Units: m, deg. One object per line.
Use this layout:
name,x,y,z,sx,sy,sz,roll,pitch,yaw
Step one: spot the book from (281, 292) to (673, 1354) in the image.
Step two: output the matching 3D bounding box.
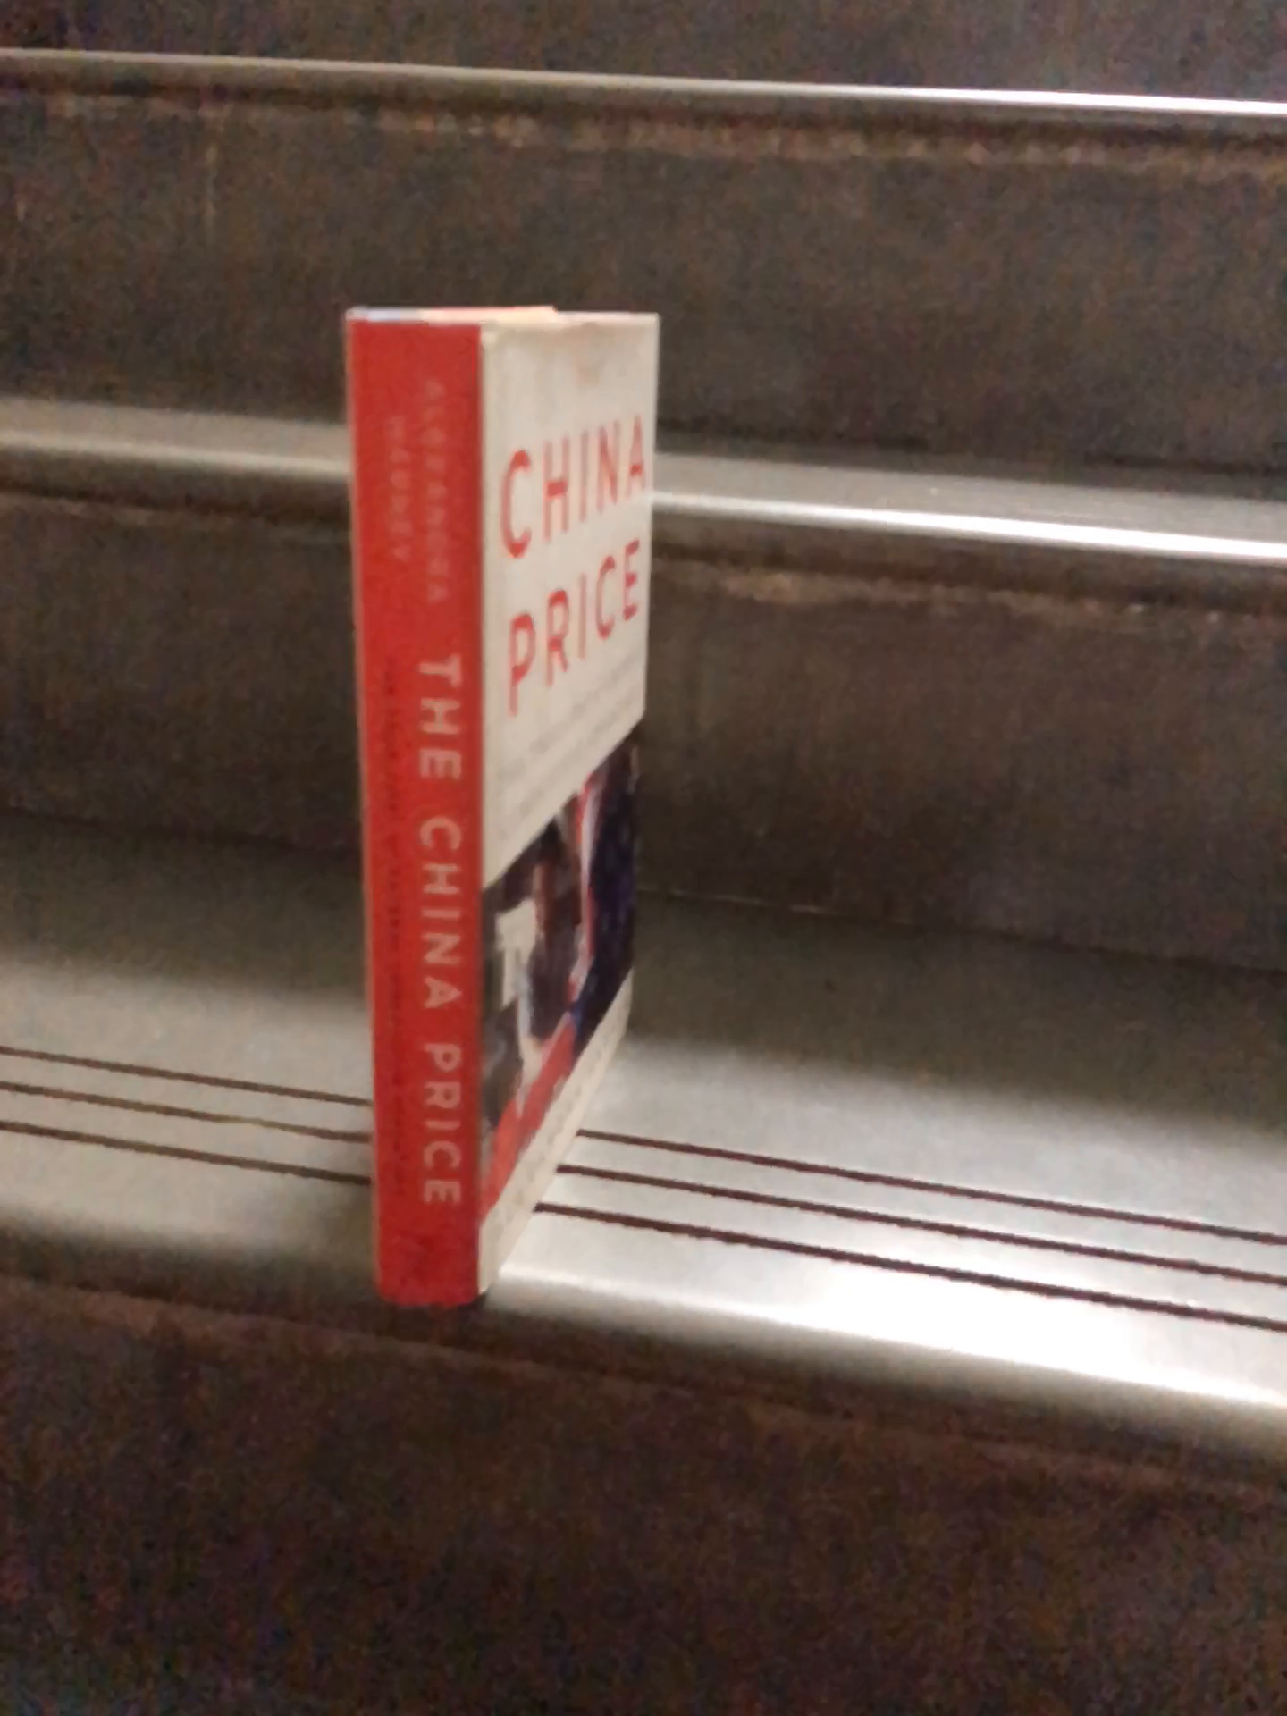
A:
book,-0.033,-0.025,0.387,0.040,0.239,0.181,6,23,10
